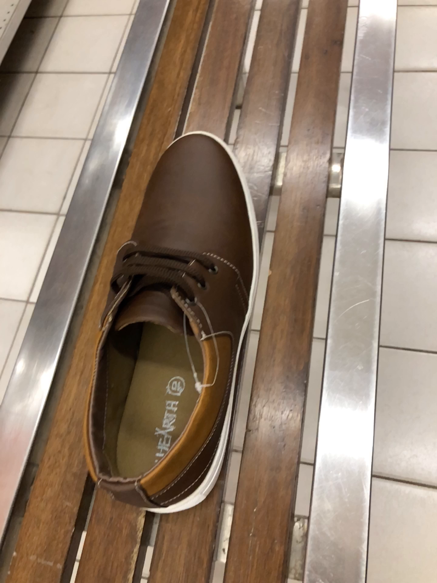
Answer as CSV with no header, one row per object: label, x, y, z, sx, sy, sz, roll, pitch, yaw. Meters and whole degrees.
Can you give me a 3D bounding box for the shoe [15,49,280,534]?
shoe,-0.024,-0.009,0.350,0.109,0.114,0.312,2,67,12
